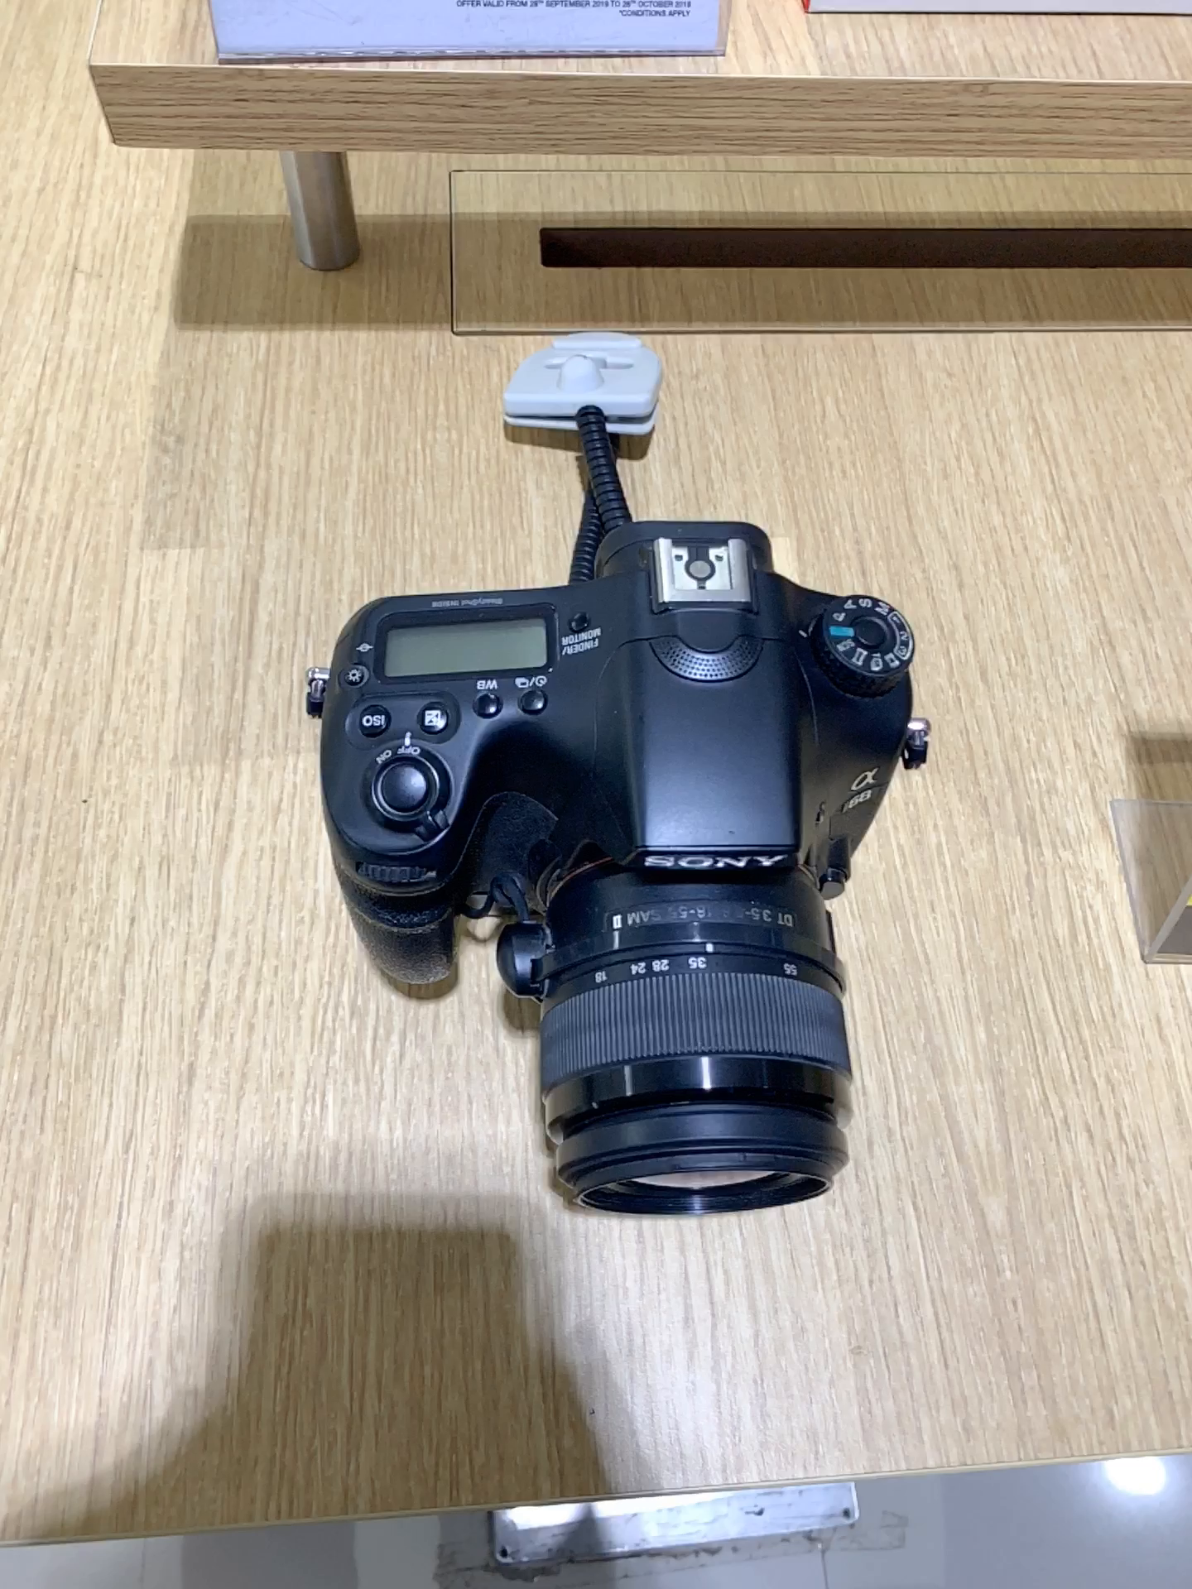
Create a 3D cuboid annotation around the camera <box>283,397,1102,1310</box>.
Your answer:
[{"bbox_3d":[0.009,0.007,0.266,0.130,0.070,0.180,-2,62,-4],"label":"camera"}]
